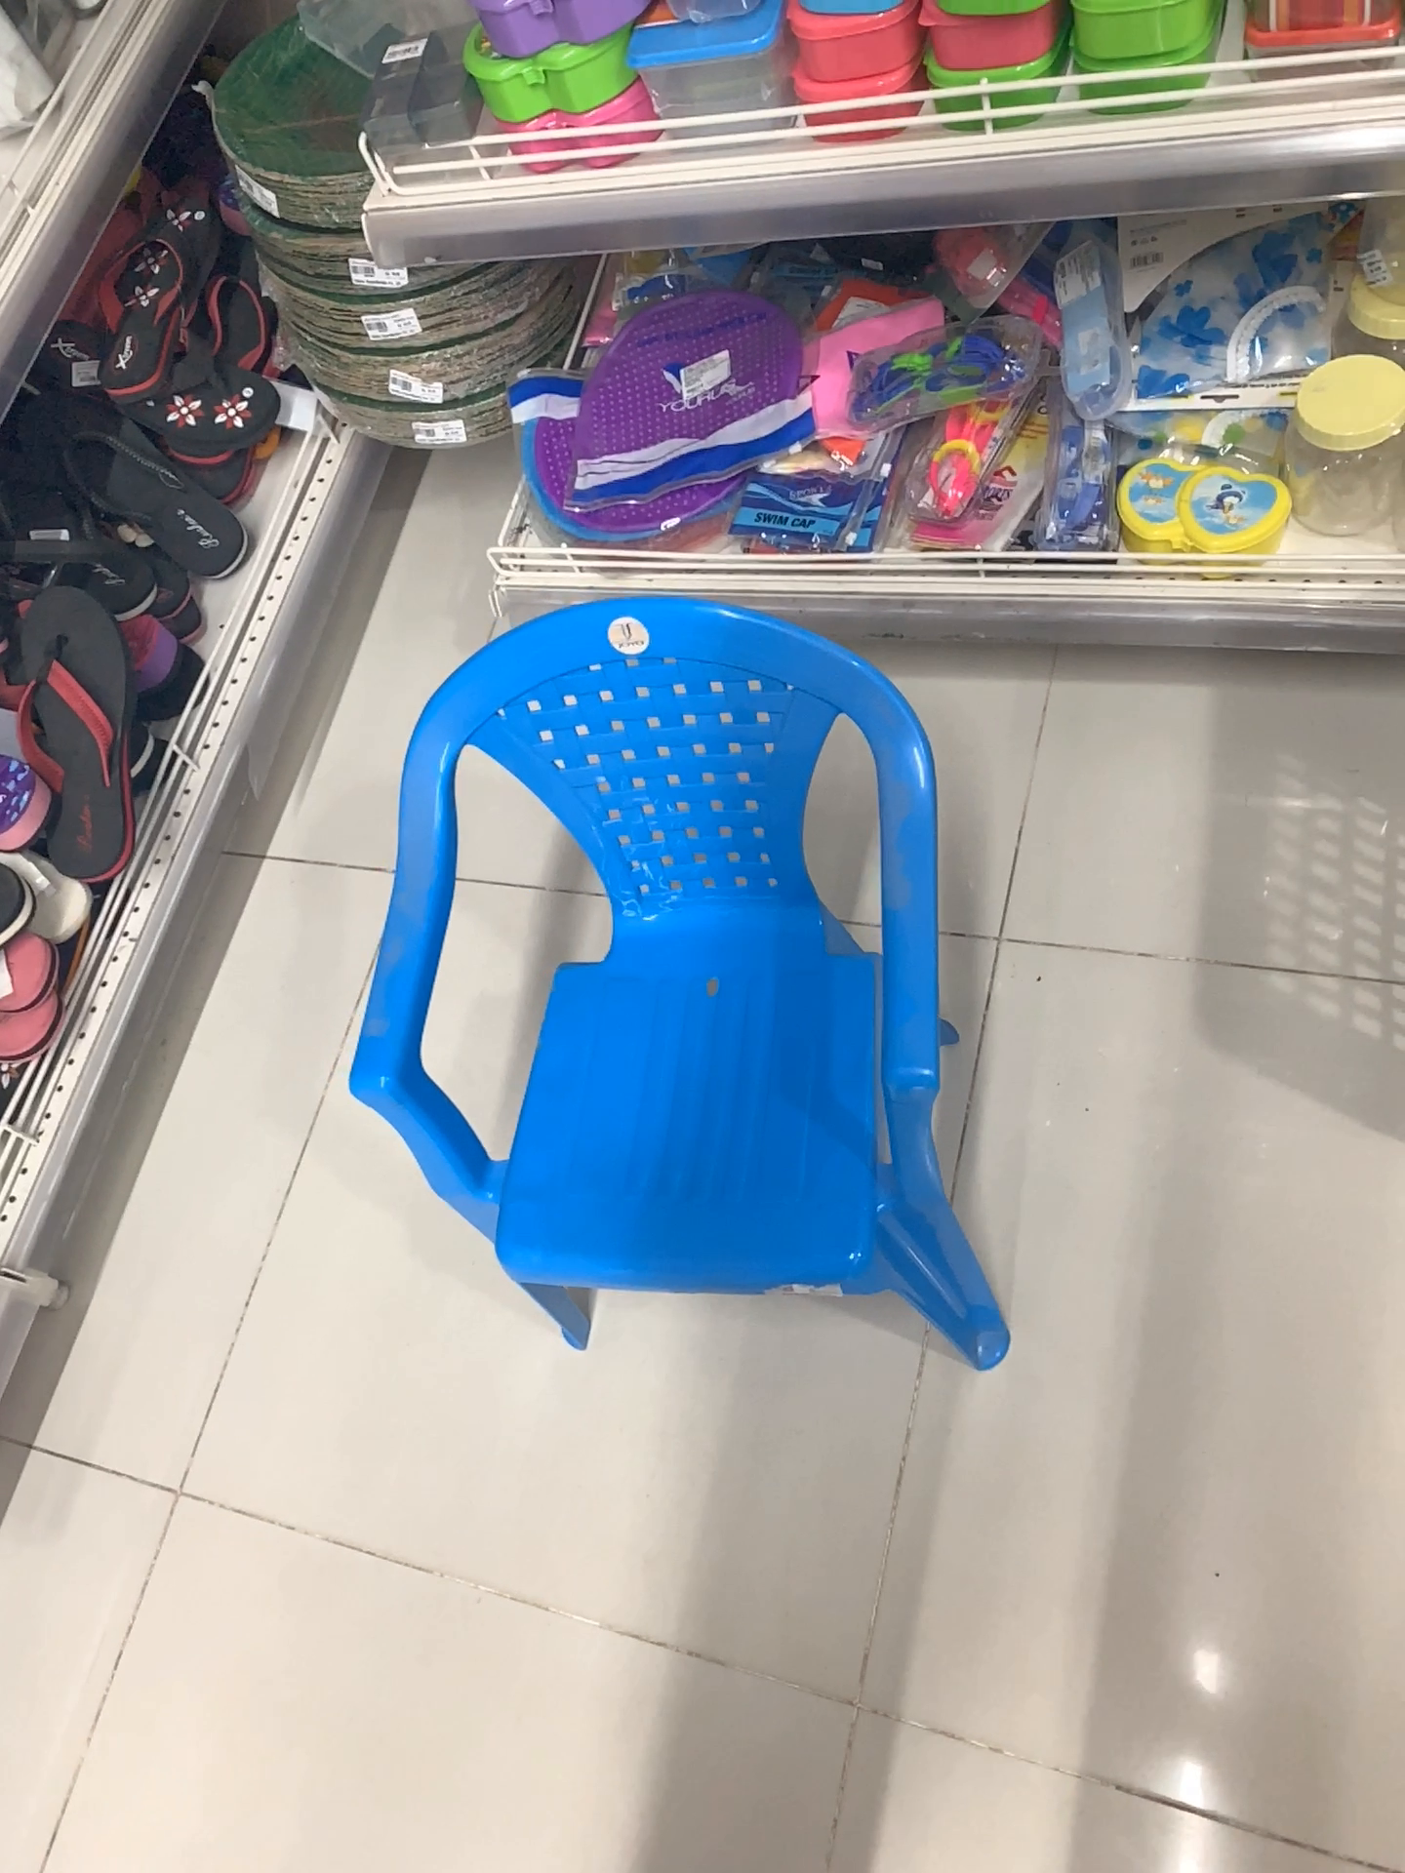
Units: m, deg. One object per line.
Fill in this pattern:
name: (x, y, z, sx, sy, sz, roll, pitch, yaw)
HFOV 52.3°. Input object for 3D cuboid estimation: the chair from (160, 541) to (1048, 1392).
chair: (0.005, 0.067, 0.963, 0.401, 0.509, 0.360, -1, 64, 18)
